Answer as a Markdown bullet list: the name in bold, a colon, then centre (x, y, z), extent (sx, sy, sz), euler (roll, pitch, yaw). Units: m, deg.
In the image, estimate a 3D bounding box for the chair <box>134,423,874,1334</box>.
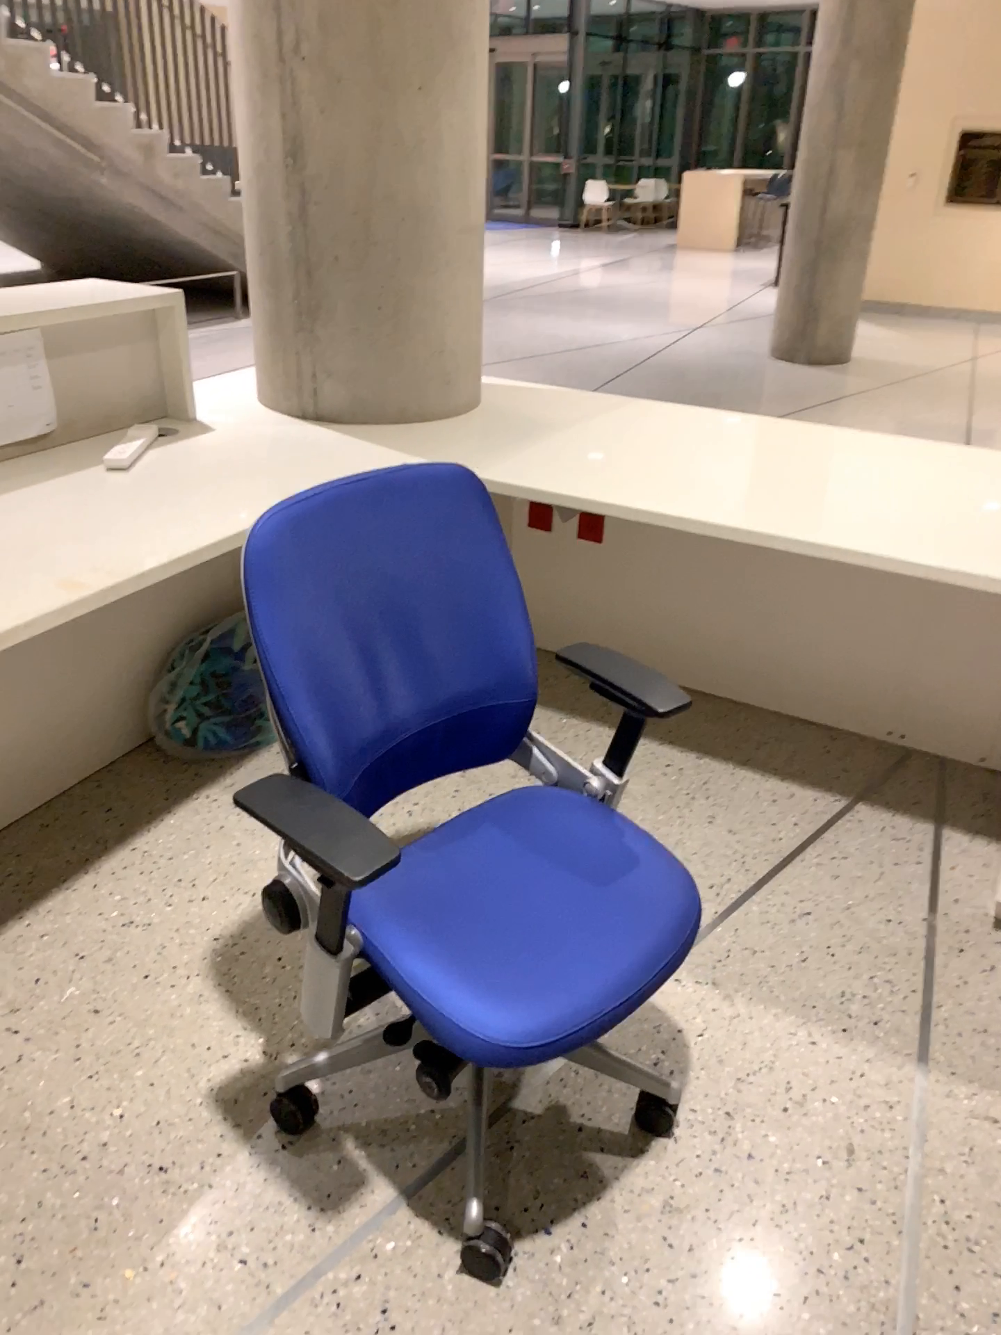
- **chair**: centre (0.003, 0.213, 1.469), extent (0.606, 0.907, 0.700), euler (25, 35, 38)
